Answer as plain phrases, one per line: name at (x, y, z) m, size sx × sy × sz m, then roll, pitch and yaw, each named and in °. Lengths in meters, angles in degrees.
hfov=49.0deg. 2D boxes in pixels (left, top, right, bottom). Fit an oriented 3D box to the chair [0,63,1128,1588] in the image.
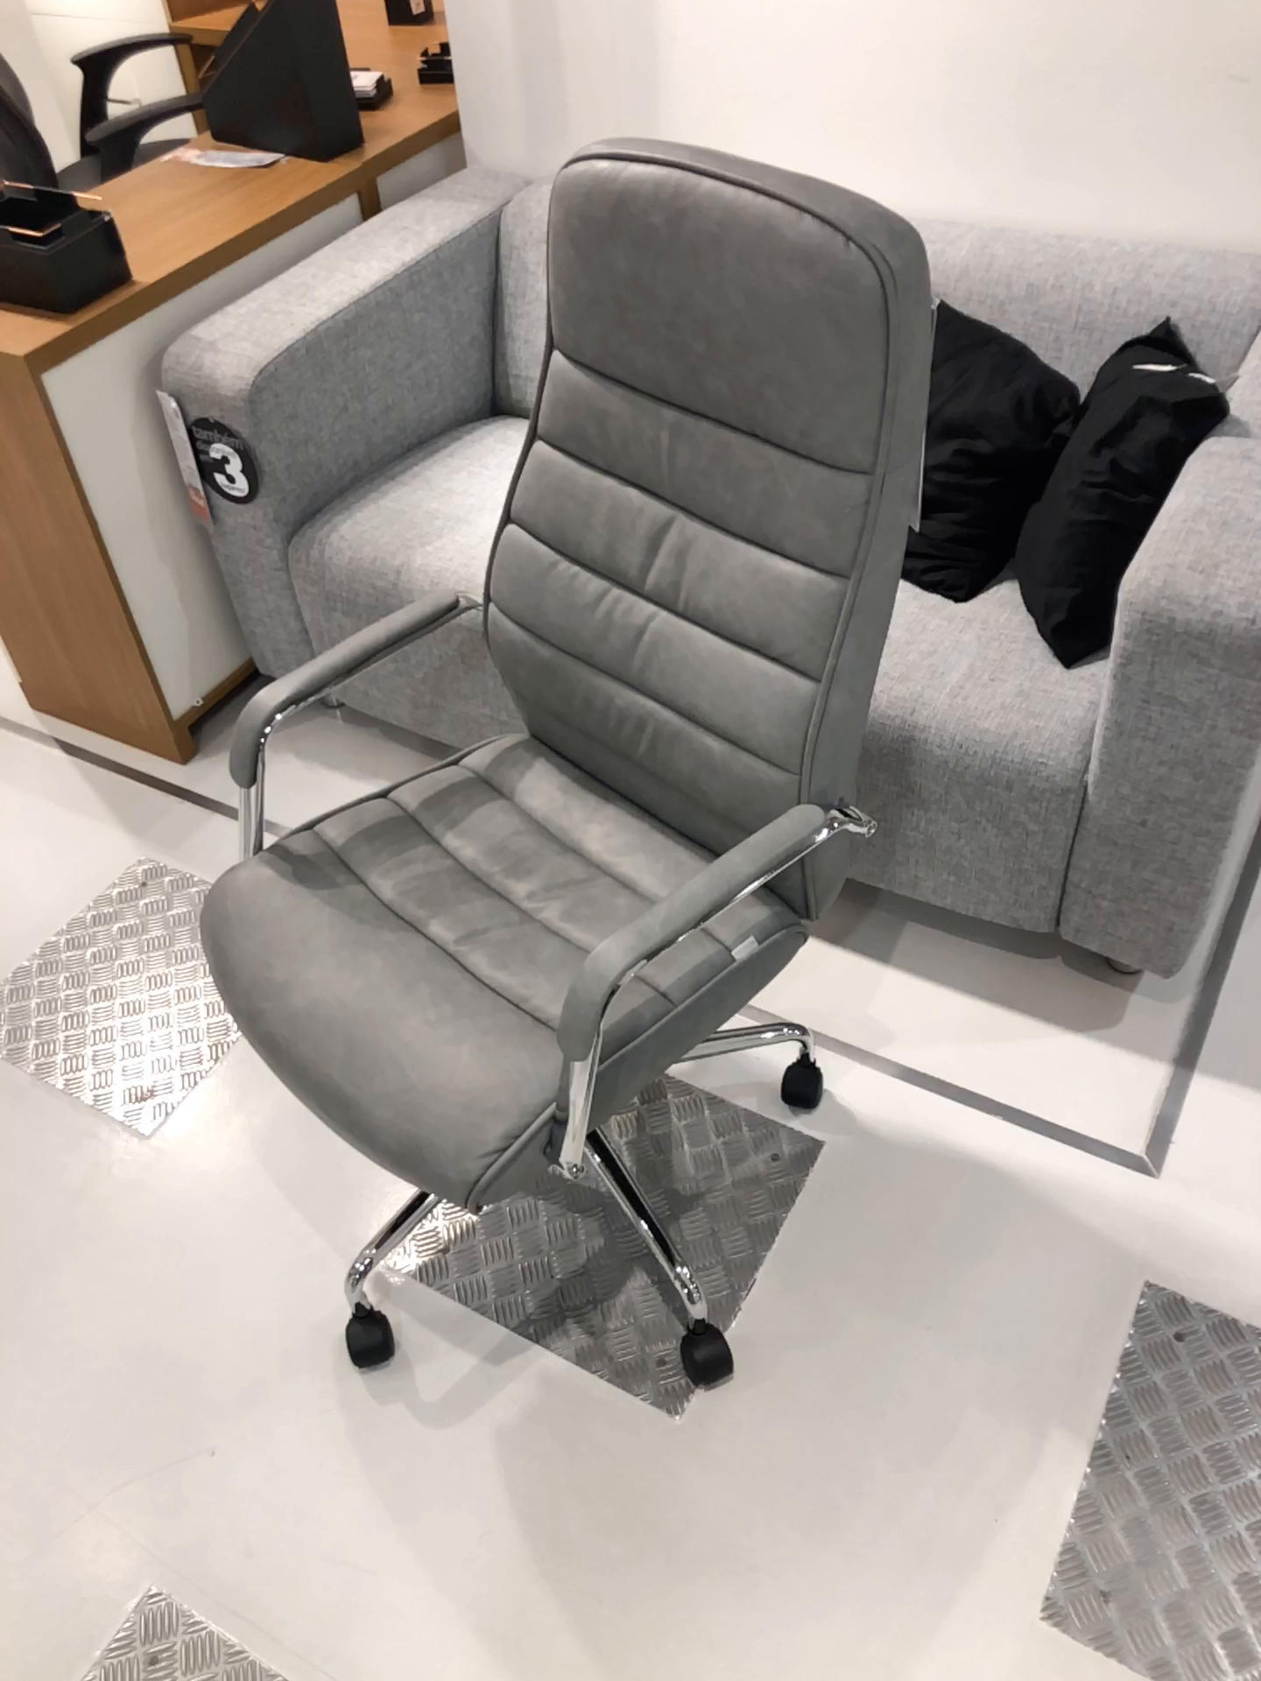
chair at (-0.133, -0.017, 1.332) m, size 0.723 × 1.052 × 0.723 m, roll -36°, pitch 51°, yaw -28°
